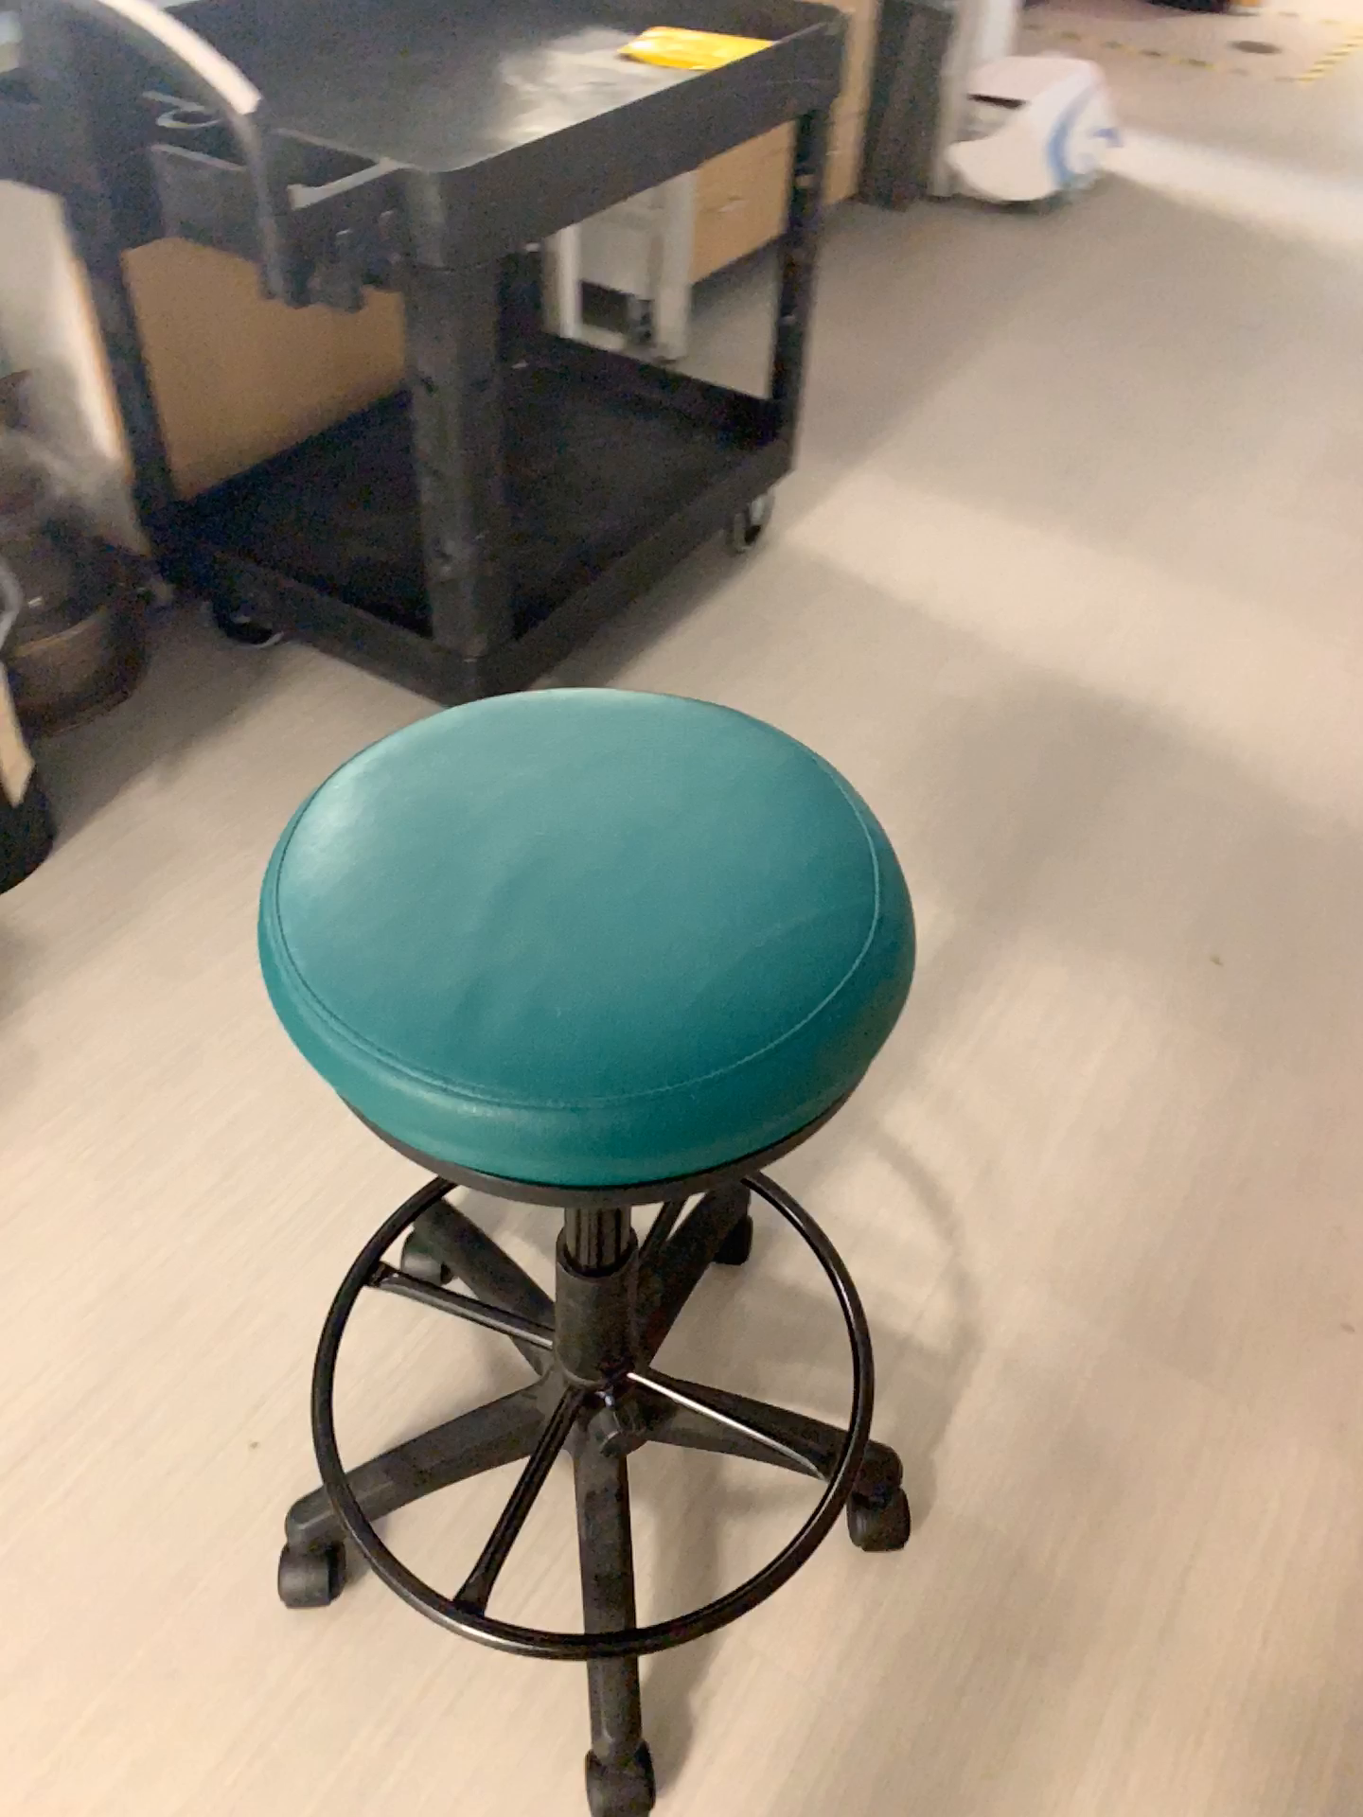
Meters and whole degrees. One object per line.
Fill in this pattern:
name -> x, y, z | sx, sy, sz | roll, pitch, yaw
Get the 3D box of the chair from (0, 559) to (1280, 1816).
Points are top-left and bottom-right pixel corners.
chair -> -0.055, 0.224, 0.987 | 0.590, 0.654, 0.595 | 6, 44, 1
